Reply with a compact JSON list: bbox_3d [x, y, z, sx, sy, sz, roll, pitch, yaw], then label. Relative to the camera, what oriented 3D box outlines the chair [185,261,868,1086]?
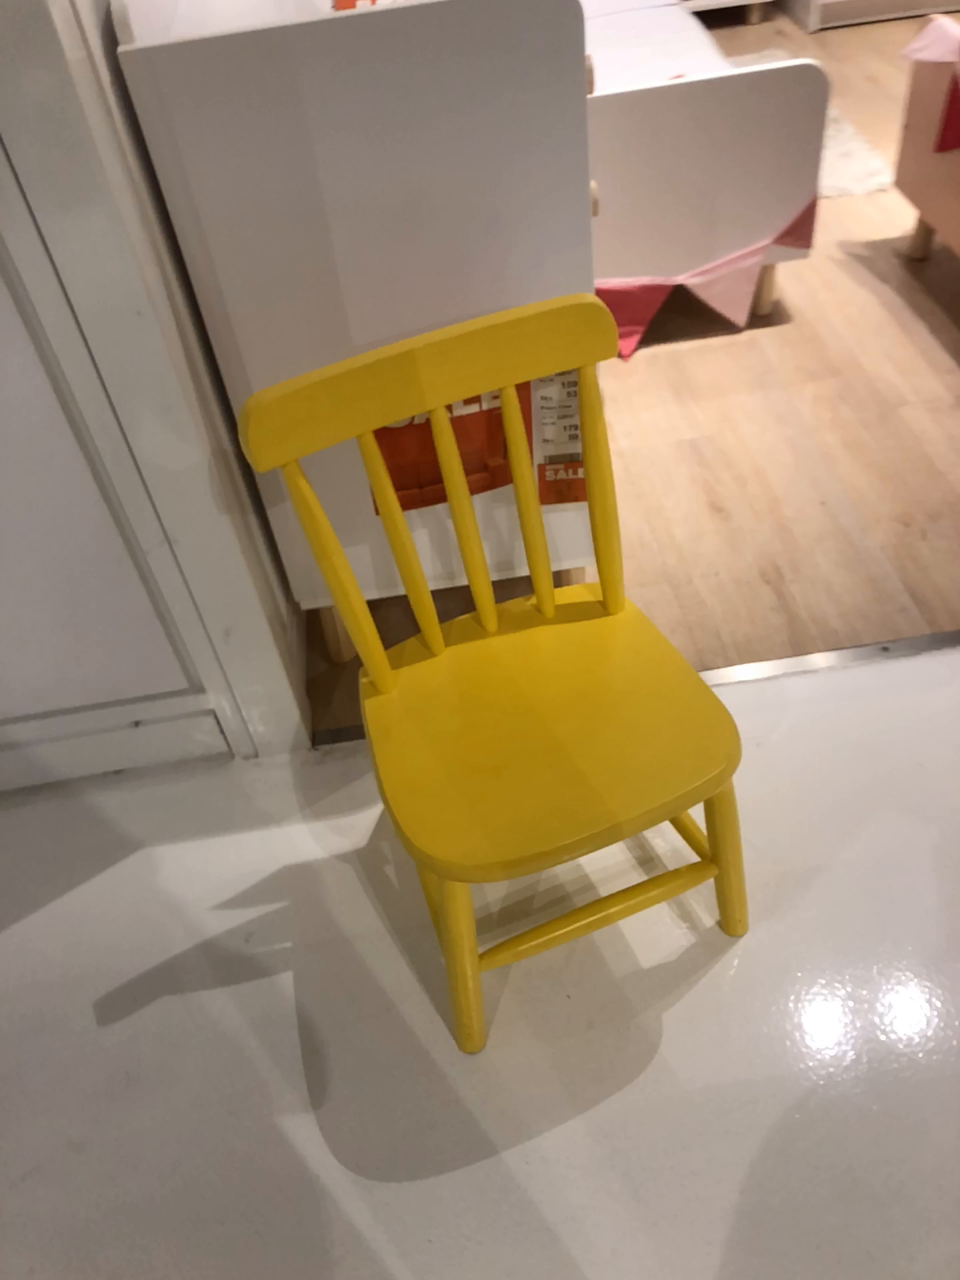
[{"bbox_3d":[0.037,0.046,0.986,0.380,0.576,0.372,-22,47,-13],"label":"chair"}]
